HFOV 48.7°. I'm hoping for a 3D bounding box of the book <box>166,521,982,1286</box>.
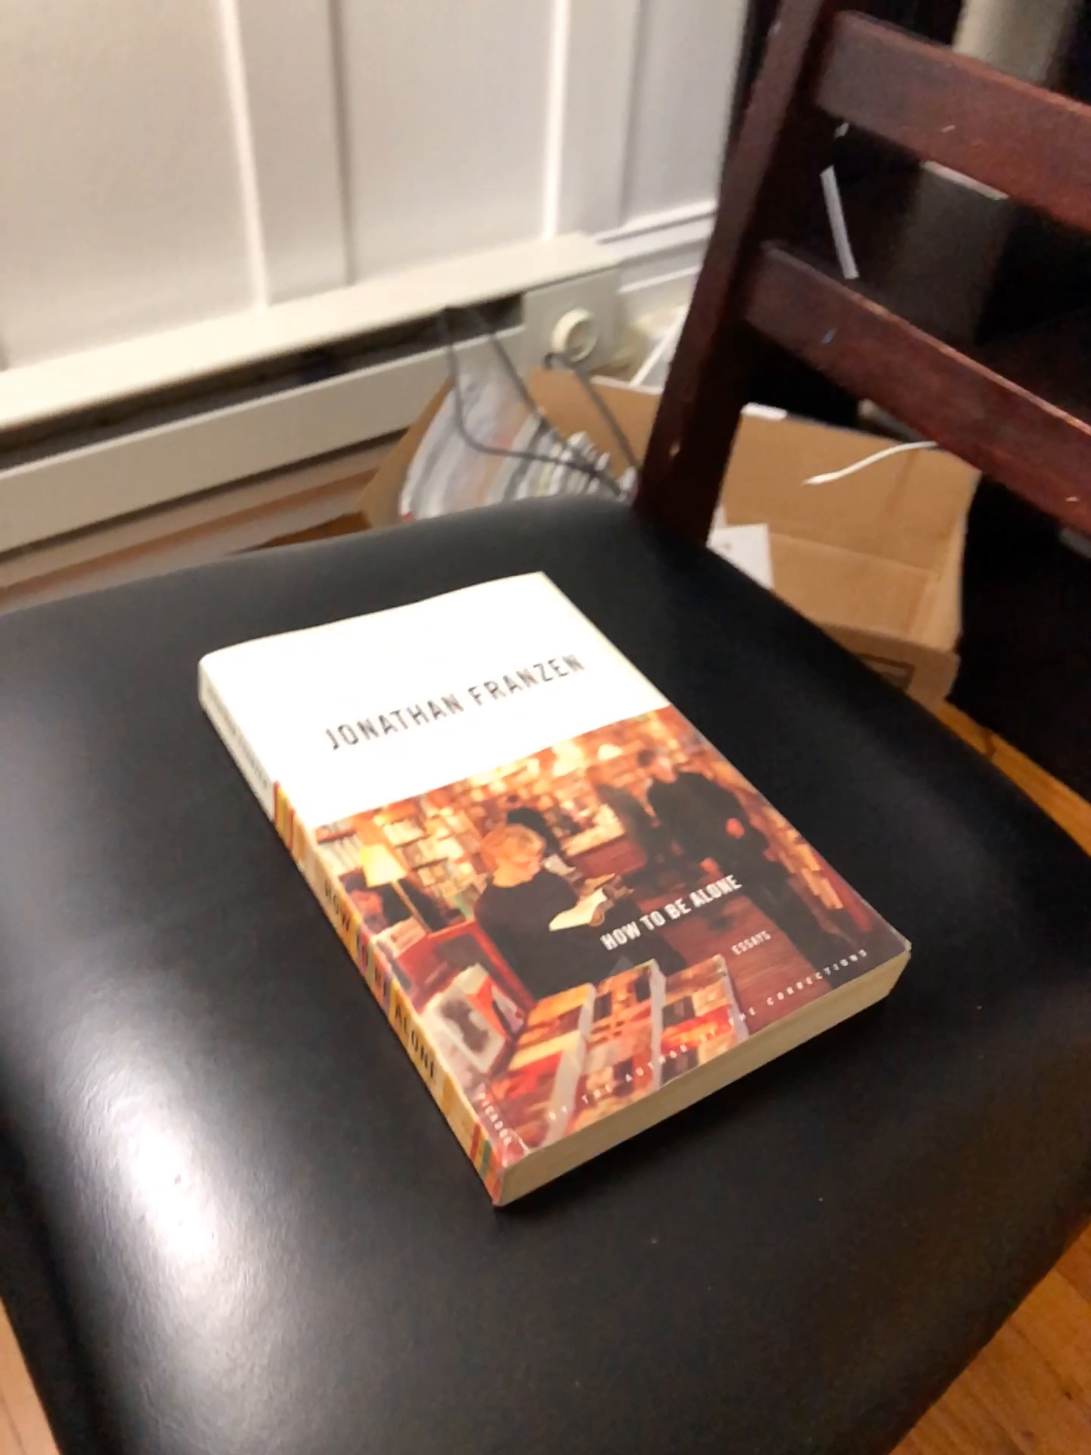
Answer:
[{"bbox_3d":[-0.004,0.030,0.394,0.160,0.040,0.231,-21,50,-24],"label":"book"}]
